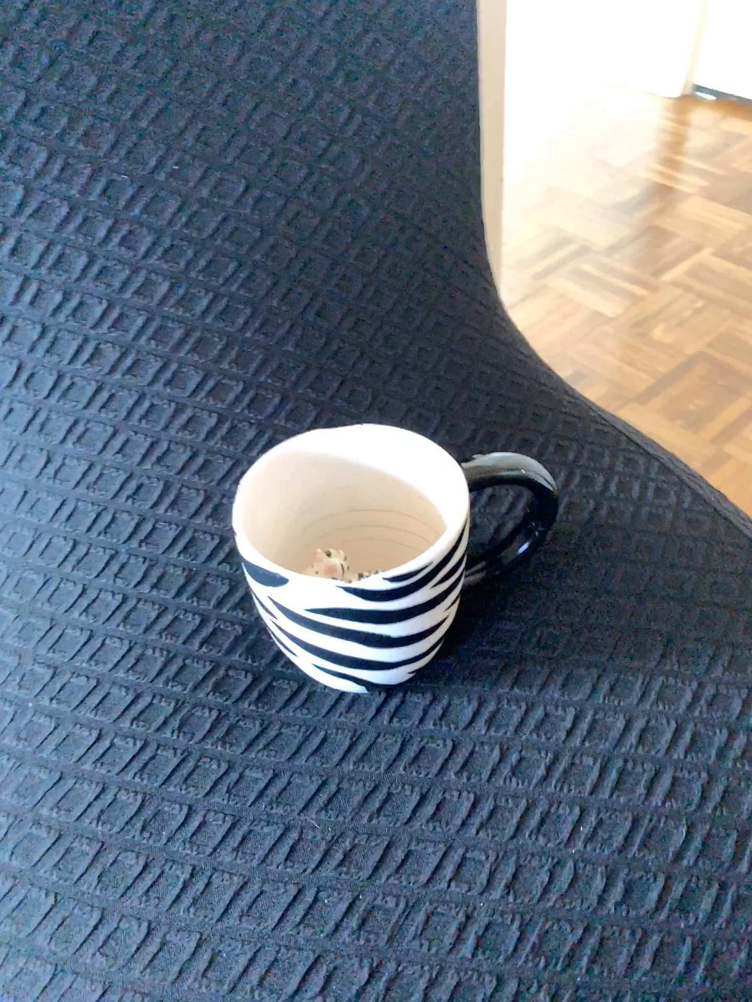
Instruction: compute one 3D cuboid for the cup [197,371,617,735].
[{"bbox_3d":[0.010,0.021,0.322,0.140,0.090,0.080,-14,48,-7],"label":"cup"}]
